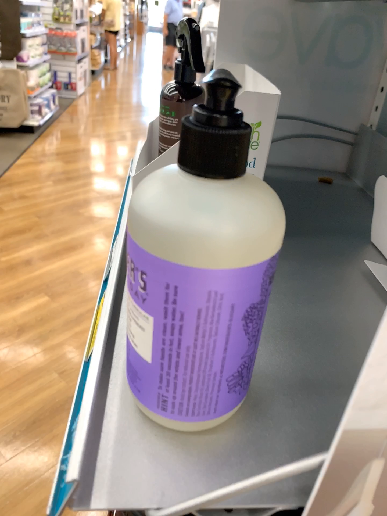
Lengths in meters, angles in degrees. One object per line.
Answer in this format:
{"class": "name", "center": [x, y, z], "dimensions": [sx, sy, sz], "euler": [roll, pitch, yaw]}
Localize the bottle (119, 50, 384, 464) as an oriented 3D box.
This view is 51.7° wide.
{"class": "bottle", "center": [0.004, 0.003, 0.180], "dimensions": [0.070, 0.159, 0.080], "euler": [0, 32, -12]}
